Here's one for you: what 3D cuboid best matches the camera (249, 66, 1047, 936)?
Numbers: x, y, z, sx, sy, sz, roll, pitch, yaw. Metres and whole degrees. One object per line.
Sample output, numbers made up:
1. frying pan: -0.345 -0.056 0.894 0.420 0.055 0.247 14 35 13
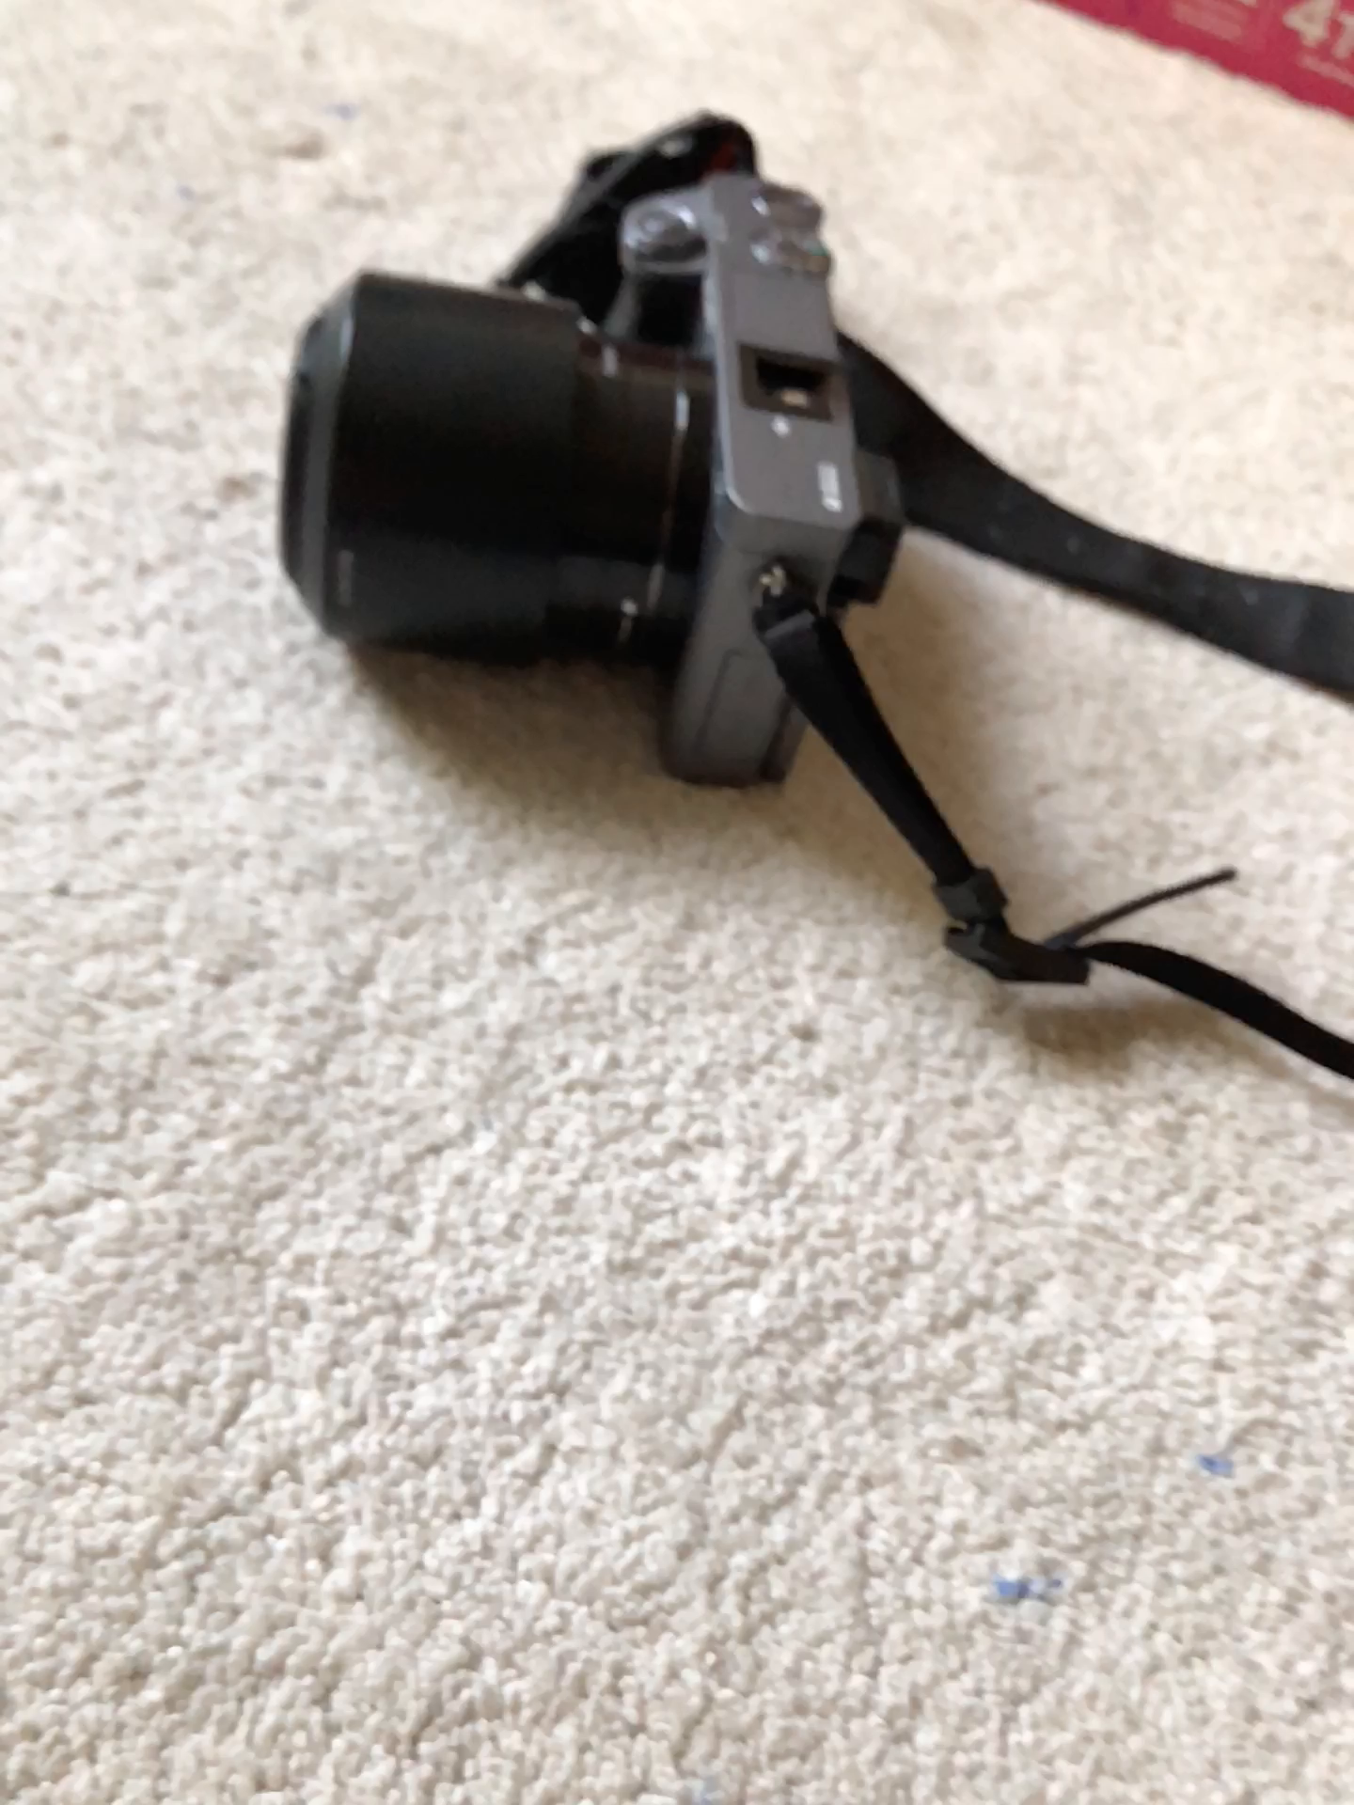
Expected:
1. camera: -0.012 -0.075 0.277 0.110 0.070 0.141 5 50 -11
